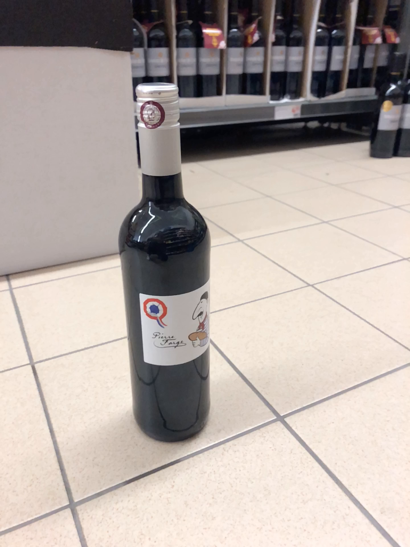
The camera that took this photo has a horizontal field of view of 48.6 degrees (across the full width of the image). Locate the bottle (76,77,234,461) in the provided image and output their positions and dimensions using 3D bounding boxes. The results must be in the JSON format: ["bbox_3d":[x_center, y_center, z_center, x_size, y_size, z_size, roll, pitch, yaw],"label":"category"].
[{"bbox_3d":[-0.036,0.003,0.376,0.080,0.298,0.080,0,26,0],"label":"bottle"}]
